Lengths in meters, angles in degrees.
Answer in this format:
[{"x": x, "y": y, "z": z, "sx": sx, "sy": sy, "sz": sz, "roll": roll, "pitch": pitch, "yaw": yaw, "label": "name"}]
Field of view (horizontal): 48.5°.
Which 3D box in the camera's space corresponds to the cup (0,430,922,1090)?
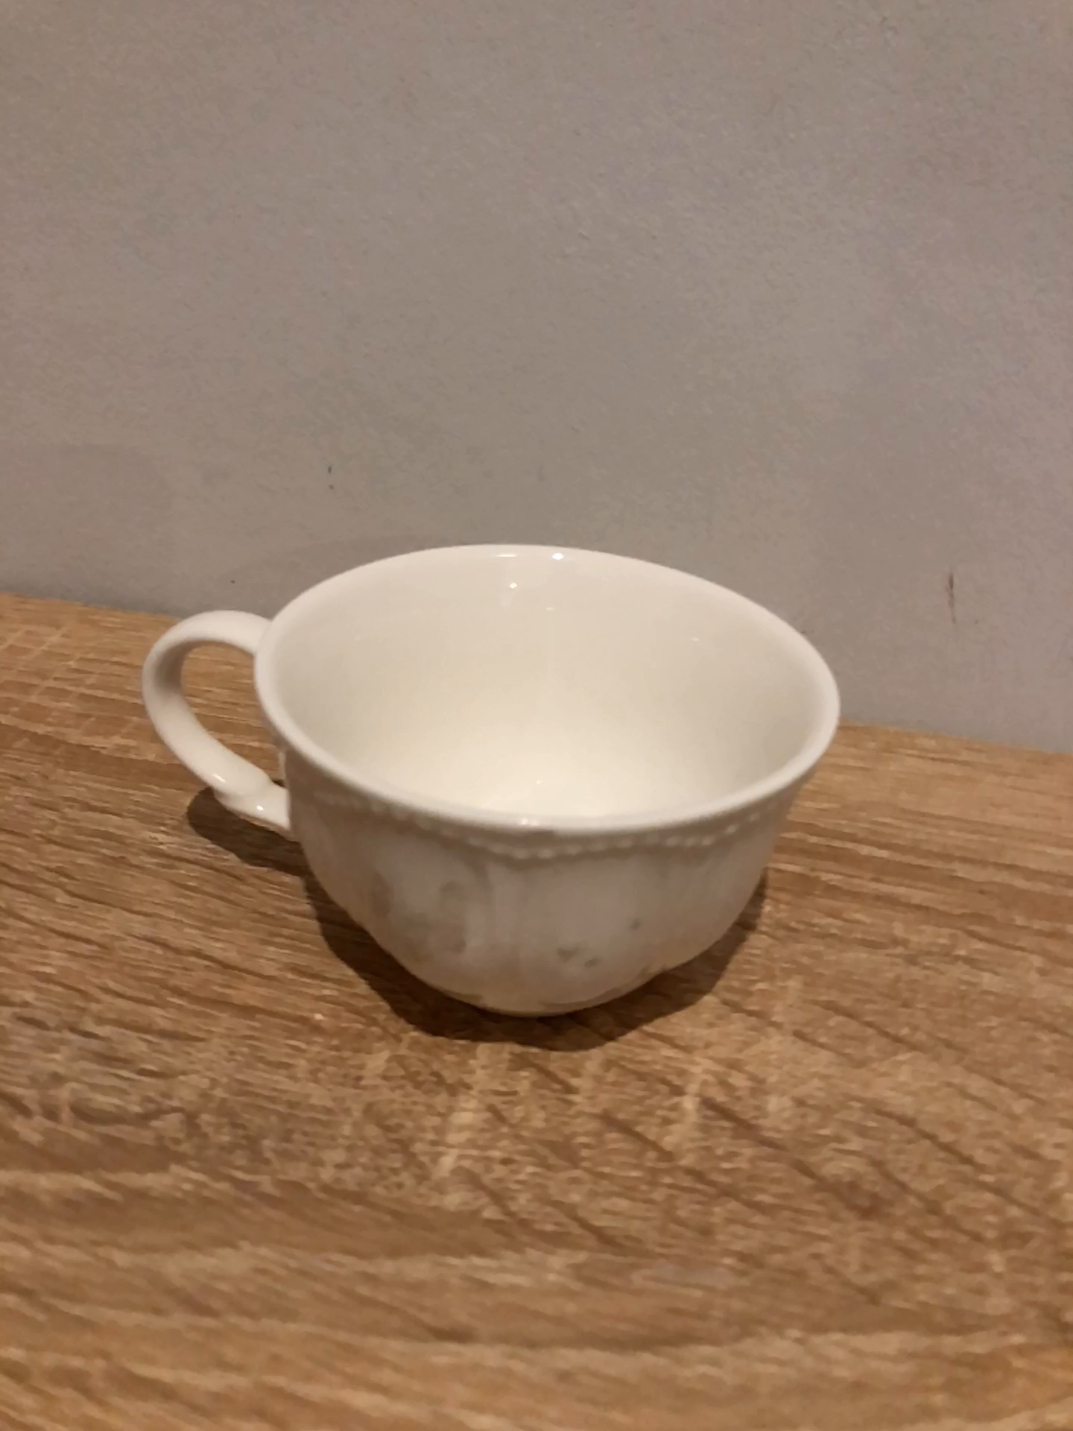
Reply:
[{"x": -0.011, "y": 0.001, "z": 0.154, "sx": 0.100, "sy": 0.050, "sz": 0.060, "roll": 6, "pitch": 31, "yaw": 5, "label": "cup"}]
